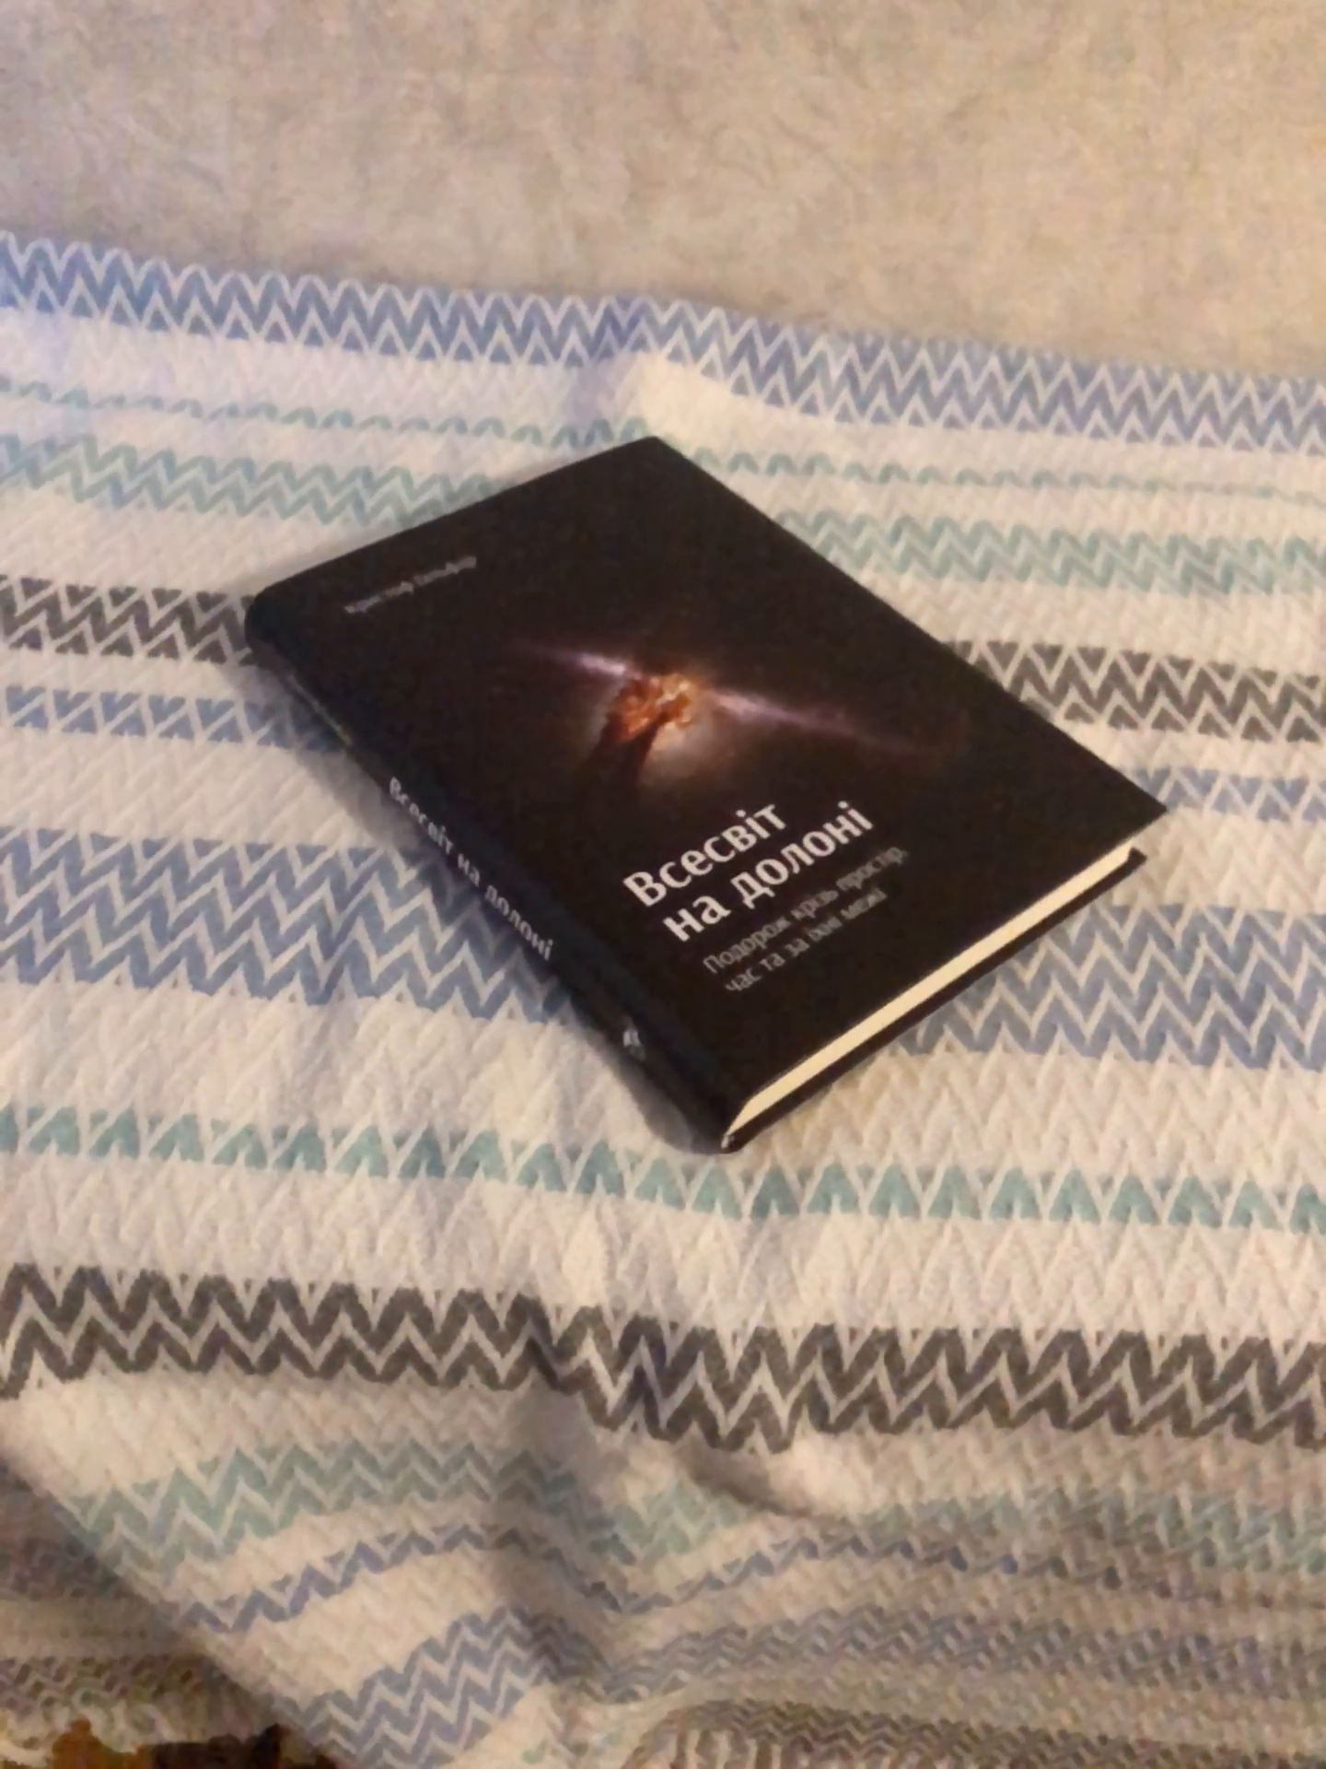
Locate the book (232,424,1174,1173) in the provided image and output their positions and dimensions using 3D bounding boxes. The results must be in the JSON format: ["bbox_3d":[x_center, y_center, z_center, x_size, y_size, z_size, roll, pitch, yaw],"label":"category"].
[{"bbox_3d":[0.005,-0.046,0.427,0.162,0.030,0.225,-30,57,-27],"label":"book"}]
